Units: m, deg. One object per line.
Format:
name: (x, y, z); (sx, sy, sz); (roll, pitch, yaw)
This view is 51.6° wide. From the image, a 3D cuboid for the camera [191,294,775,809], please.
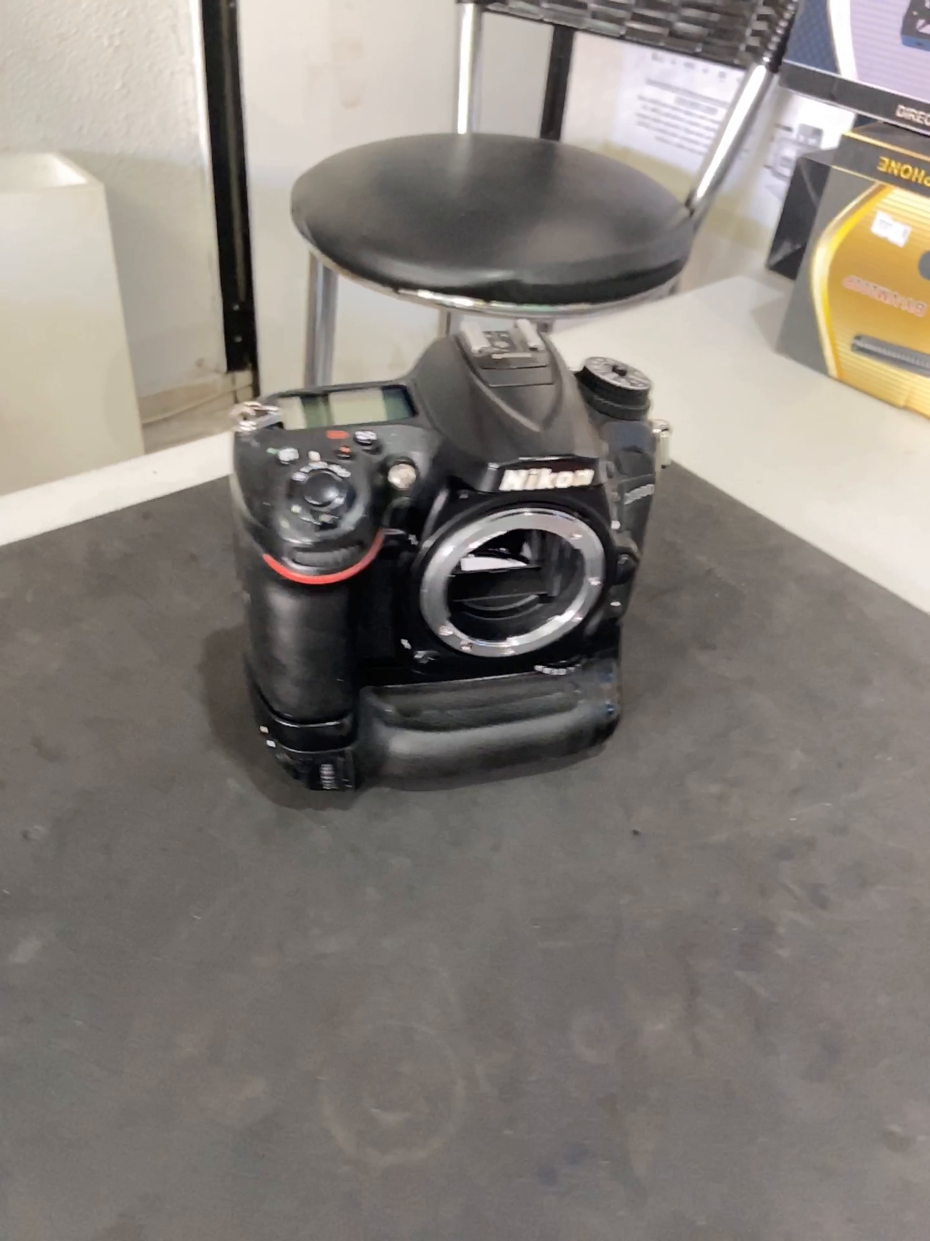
camera: (-0.005, -0.026, 0.300); (0.140, 0.109, 0.101); (-7, 41, -14)
